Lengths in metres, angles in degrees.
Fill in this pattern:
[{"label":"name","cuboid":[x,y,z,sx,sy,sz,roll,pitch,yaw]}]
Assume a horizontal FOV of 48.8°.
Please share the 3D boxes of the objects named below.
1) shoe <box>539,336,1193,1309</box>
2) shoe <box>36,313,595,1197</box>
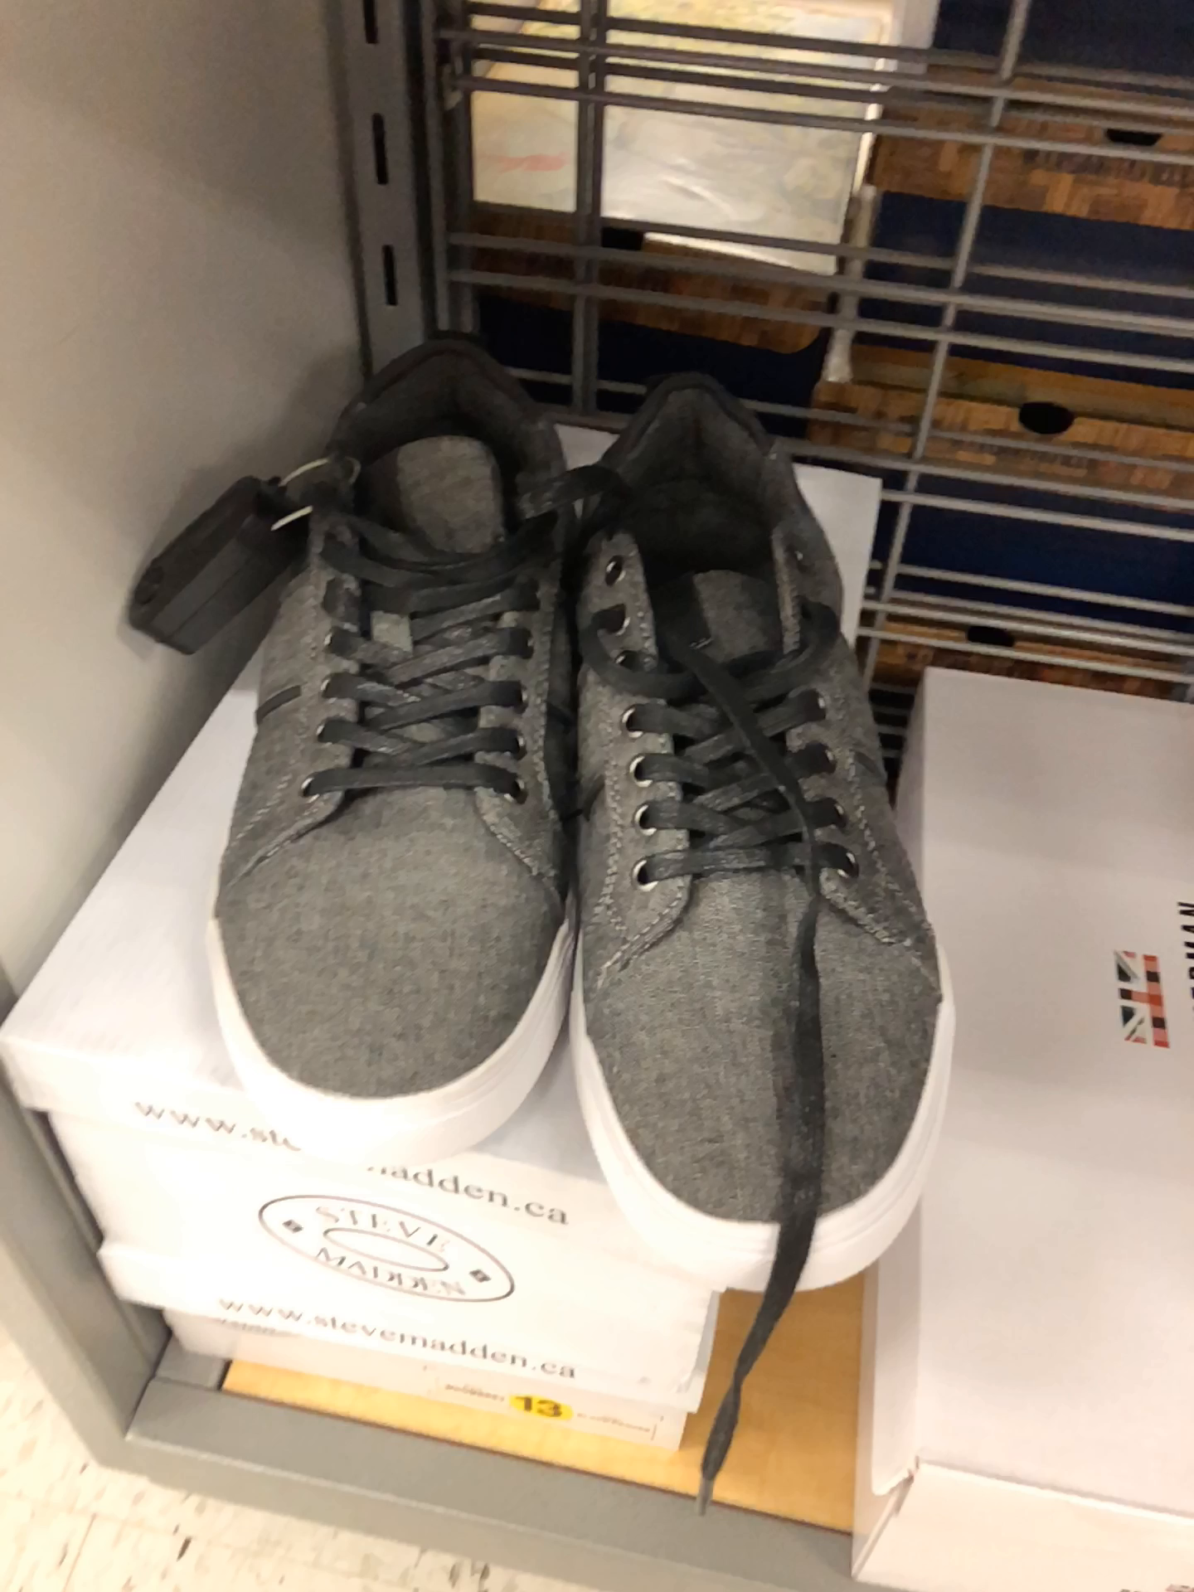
[{"label":"shoe","cuboid":[0.044,-0.016,0.365,0.107,0.099,0.272,-2,46,-4]},{"label":"shoe","cuboid":[-0.057,-0.030,0.381,0.107,0.099,0.262,1,46,-2]}]
